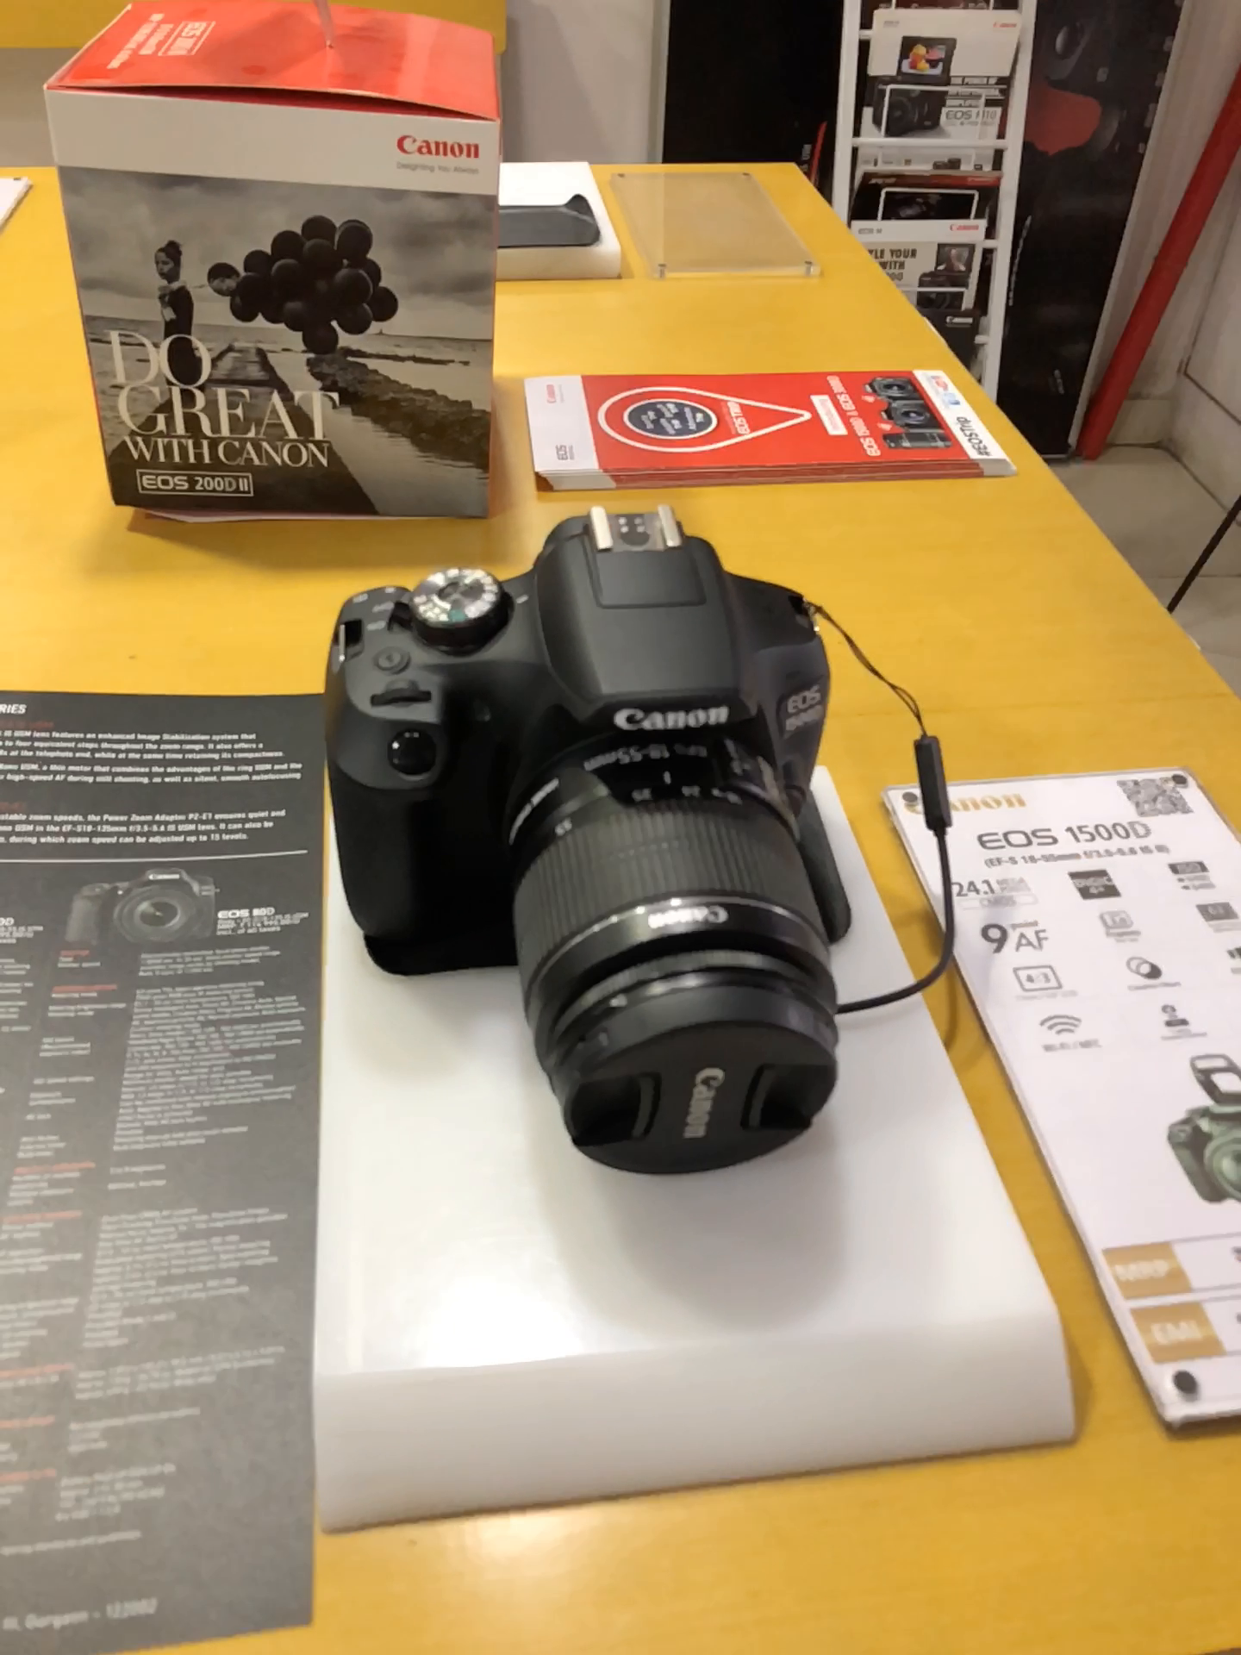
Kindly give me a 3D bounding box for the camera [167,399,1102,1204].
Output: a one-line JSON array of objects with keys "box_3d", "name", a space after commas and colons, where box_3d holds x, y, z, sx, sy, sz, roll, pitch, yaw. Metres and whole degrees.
[{"box_3d": [-0.007, -0.016, 0.283, 0.140, 0.089, 0.141, -4, 40, -8], "name": "camera"}]
